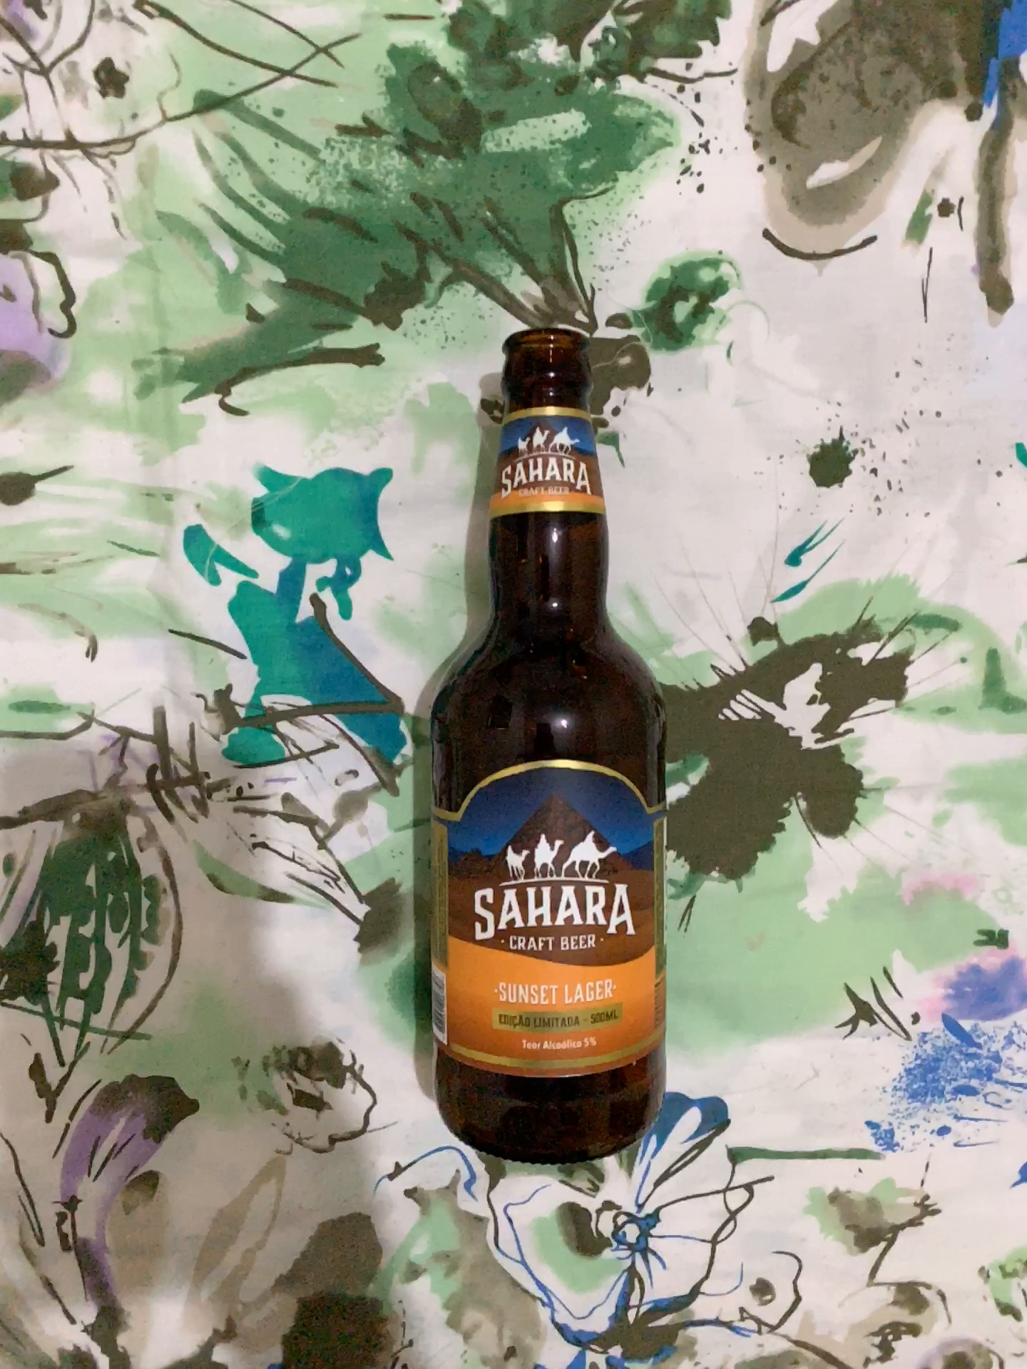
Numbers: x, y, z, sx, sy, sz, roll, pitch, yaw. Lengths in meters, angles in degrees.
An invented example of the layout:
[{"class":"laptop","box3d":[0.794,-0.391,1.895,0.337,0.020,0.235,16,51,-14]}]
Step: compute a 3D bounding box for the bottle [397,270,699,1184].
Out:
[{"class":"bottle","box3d":[0.008,0.013,0.324,0.080,0.070,0.250,-1,95,-5]}]
